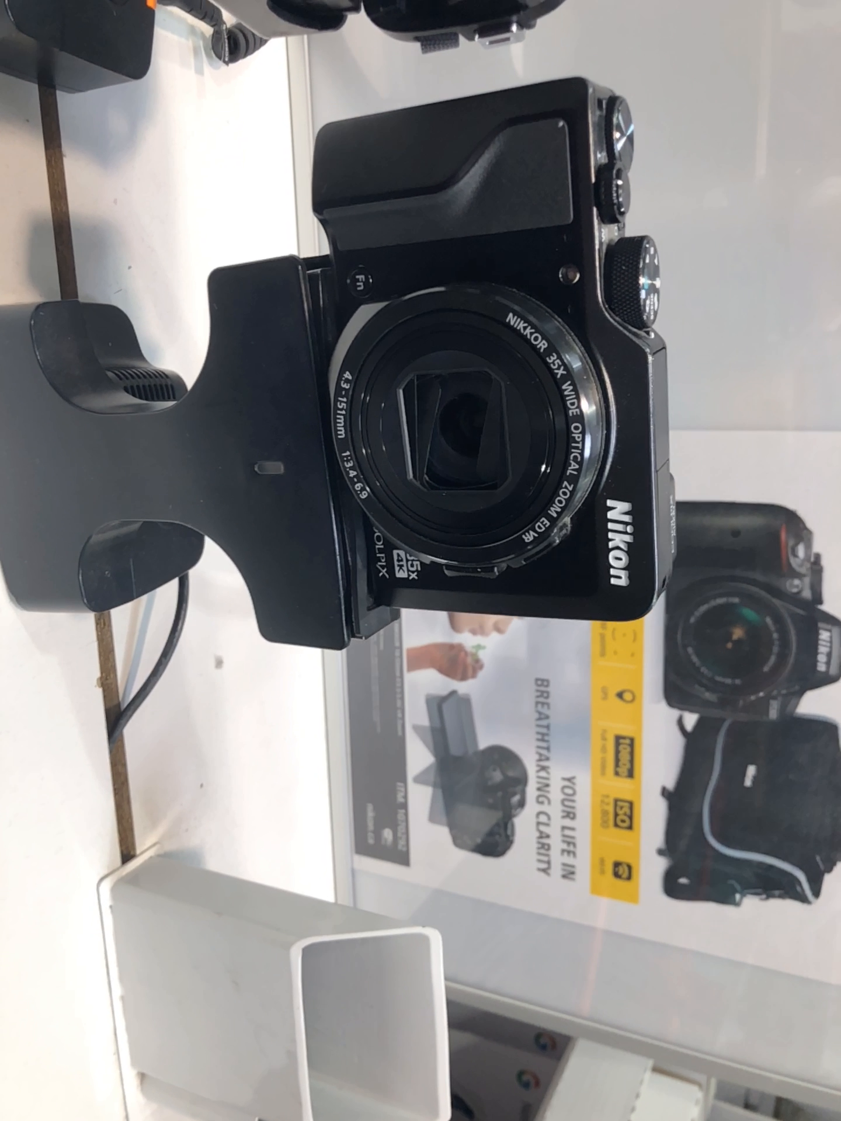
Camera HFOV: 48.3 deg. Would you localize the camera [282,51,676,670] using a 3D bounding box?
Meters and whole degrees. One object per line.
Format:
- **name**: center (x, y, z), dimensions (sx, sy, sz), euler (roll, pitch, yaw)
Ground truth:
- **camera**: center (0.018, -0.041, 0.209), dimensions (0.044, 0.069, 0.117), euler (-48, 137, -60)
